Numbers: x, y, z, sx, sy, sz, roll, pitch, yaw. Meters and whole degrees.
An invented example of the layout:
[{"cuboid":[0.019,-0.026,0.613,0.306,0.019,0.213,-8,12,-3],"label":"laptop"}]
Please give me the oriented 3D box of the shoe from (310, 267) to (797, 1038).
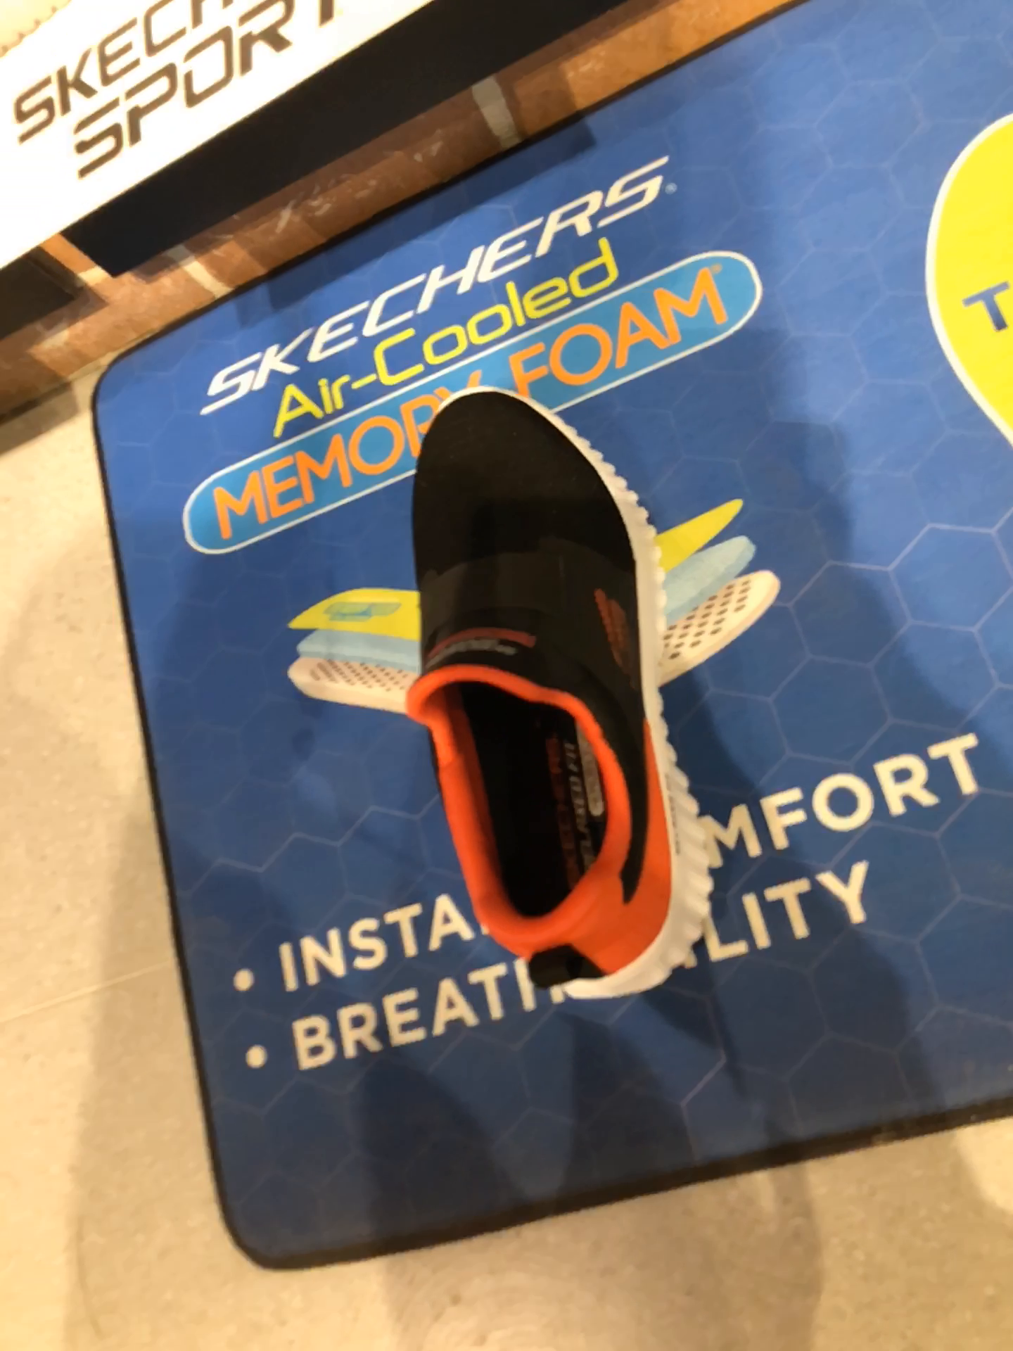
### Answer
[{"cuboid":[0.021,-0.003,0.476,0.116,0.136,0.276,-18,71,17],"label":"shoe"}]
